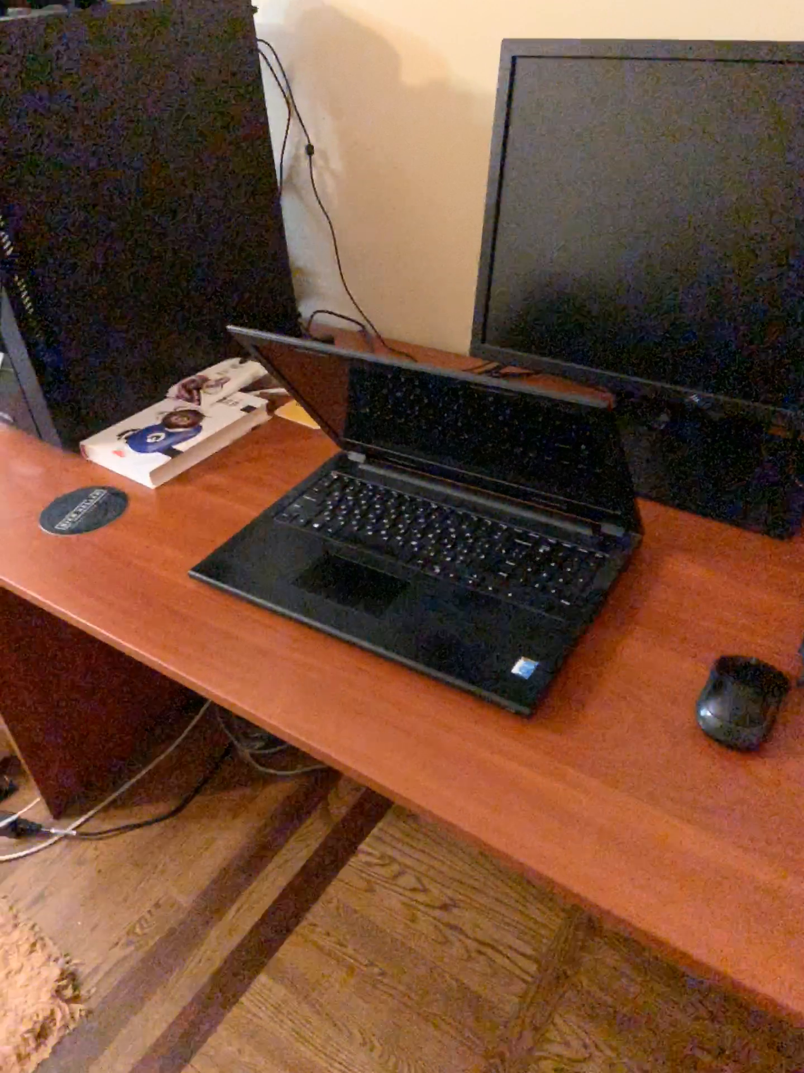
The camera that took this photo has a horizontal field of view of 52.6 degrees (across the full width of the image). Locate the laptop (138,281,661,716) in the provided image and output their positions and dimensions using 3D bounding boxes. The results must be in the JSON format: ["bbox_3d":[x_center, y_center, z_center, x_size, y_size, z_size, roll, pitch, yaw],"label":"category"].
[{"bbox_3d":[0.003,-0.065,0.754,0.373,0.212,0.254,18,42,28],"label":"laptop"}]
